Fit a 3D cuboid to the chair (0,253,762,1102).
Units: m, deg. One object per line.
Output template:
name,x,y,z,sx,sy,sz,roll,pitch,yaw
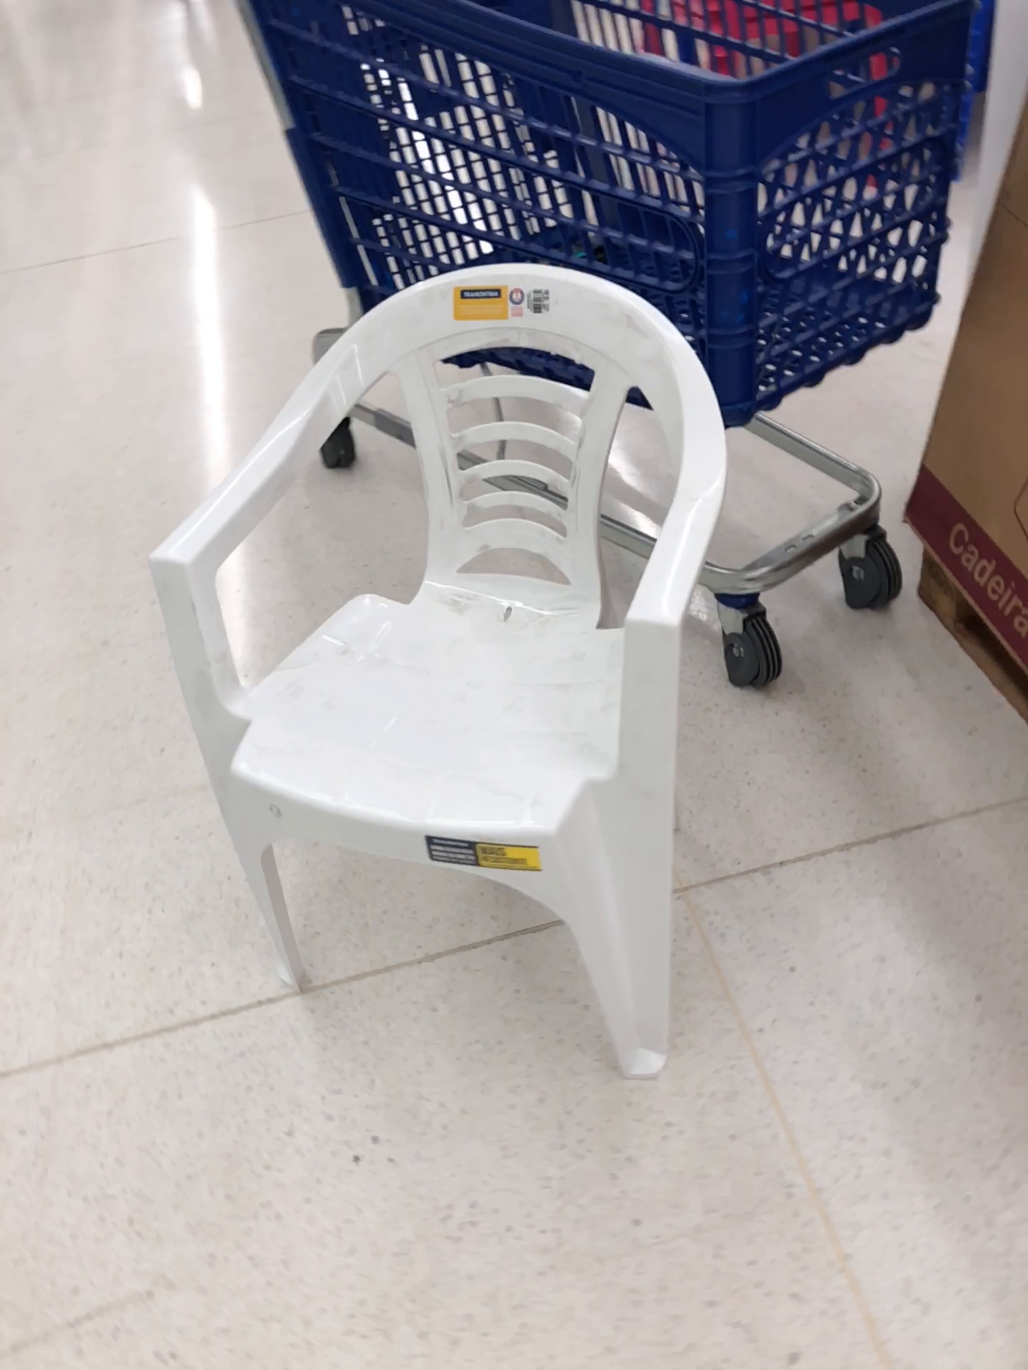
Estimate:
chair,-0.044,-0.019,1.212,0.521,0.695,0.503,8,44,19
